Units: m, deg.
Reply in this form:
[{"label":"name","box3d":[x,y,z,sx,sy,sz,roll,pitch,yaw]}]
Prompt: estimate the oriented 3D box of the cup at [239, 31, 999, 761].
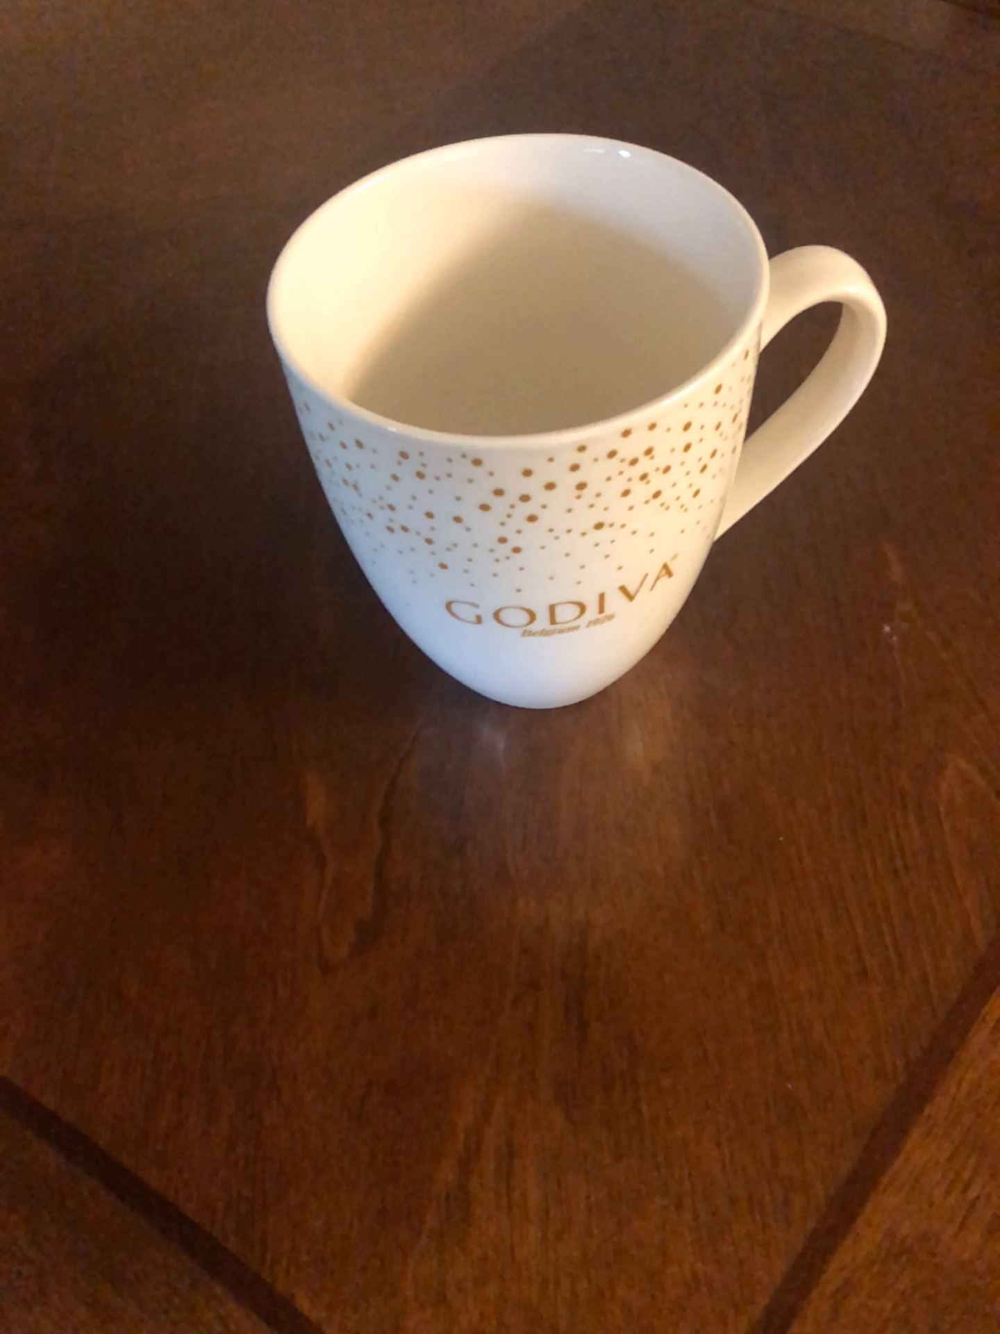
[{"label":"cup","box3d":[0.026,-0.061,0.259,0.140,0.099,0.101,-13,56,-5]}]
